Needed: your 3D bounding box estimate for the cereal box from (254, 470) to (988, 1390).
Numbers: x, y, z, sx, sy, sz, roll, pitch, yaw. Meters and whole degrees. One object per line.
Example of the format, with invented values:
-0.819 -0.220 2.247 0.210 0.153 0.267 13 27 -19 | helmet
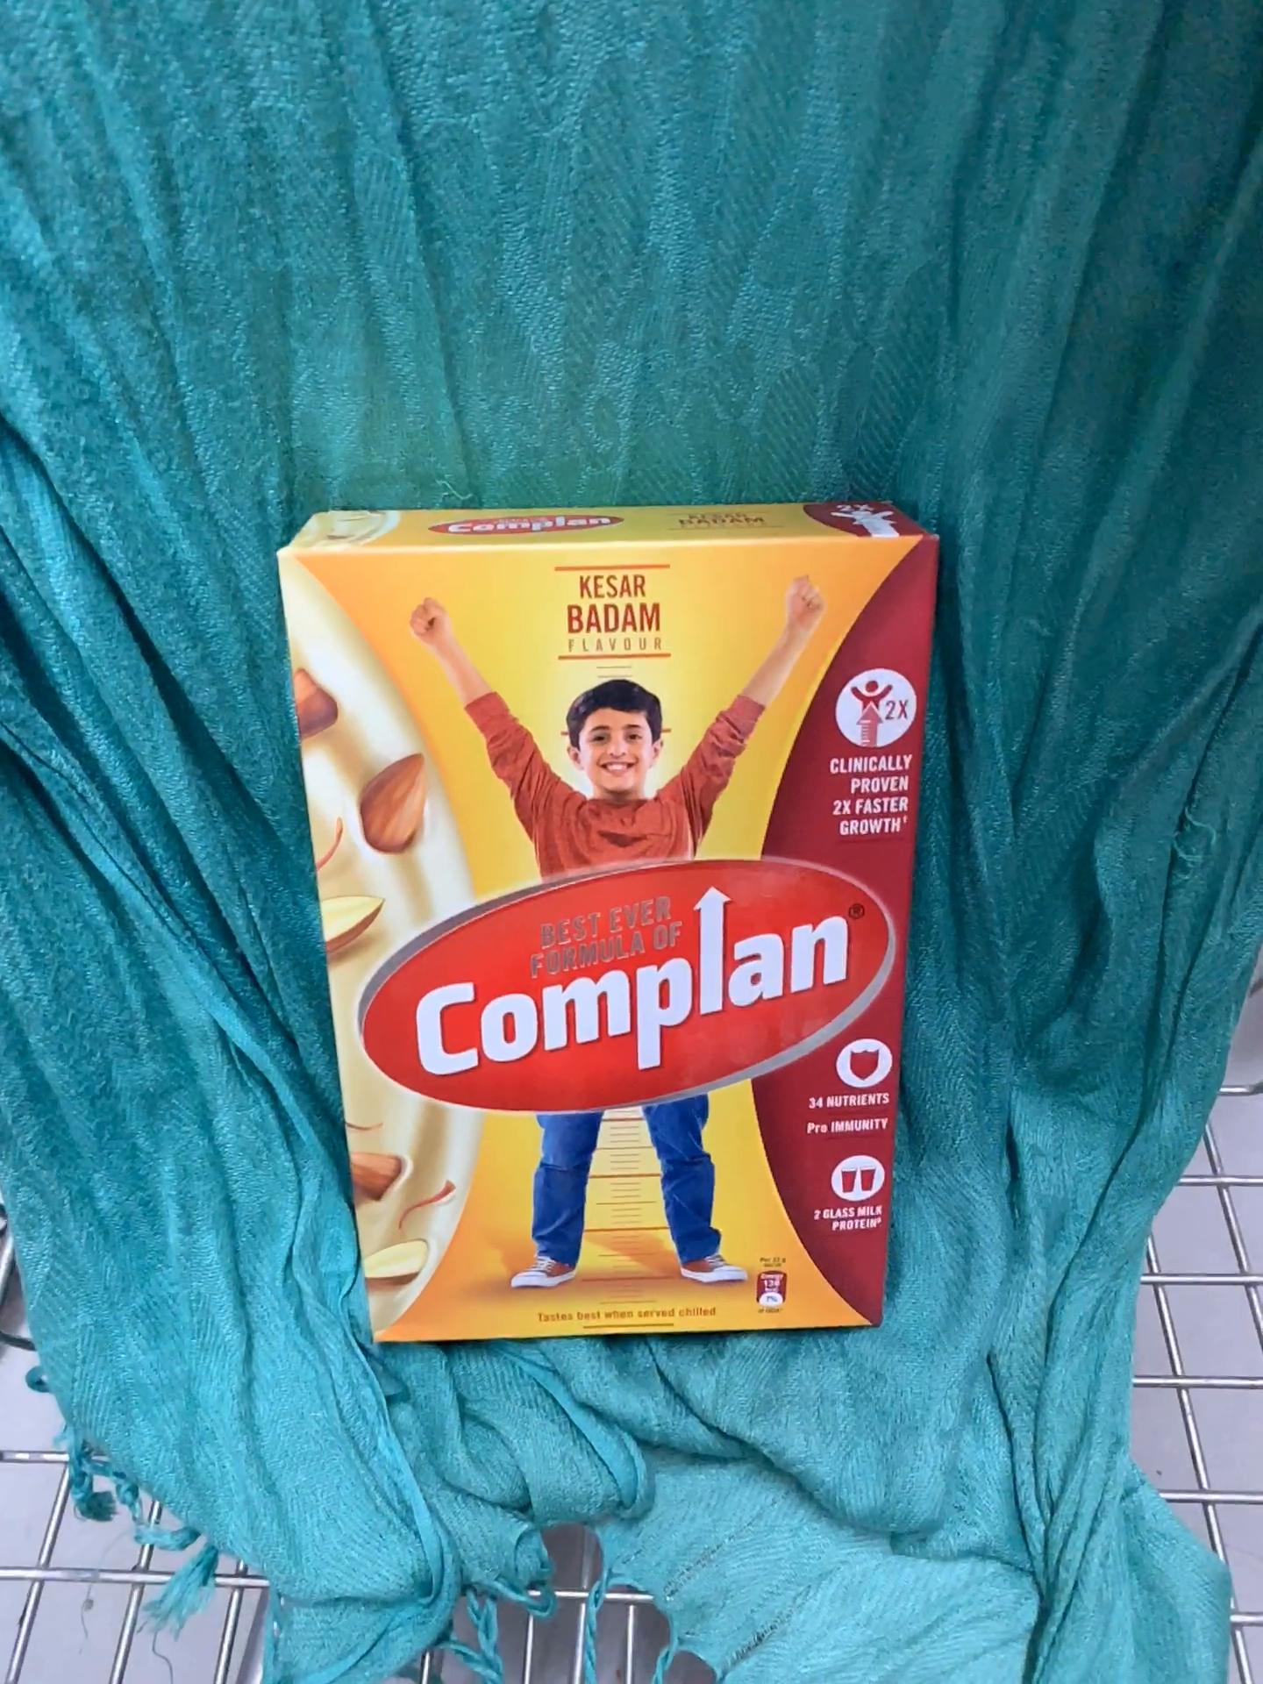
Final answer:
0.002 0.020 0.303 0.140 0.200 0.060 -2 16 1 | cereal box
